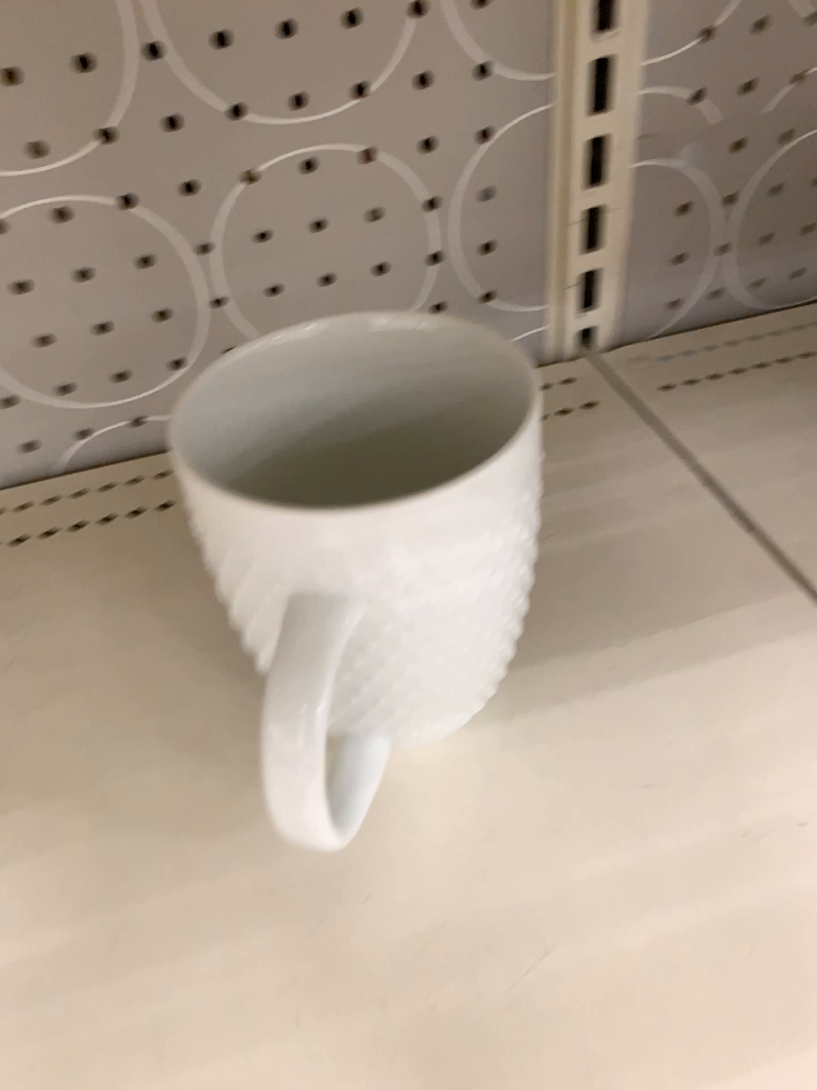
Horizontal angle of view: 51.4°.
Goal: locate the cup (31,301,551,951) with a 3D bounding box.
[{"bbox_3d":[-0.010,0.015,0.234,0.093,0.105,0.138,2,43,9],"label":"cup"}]
